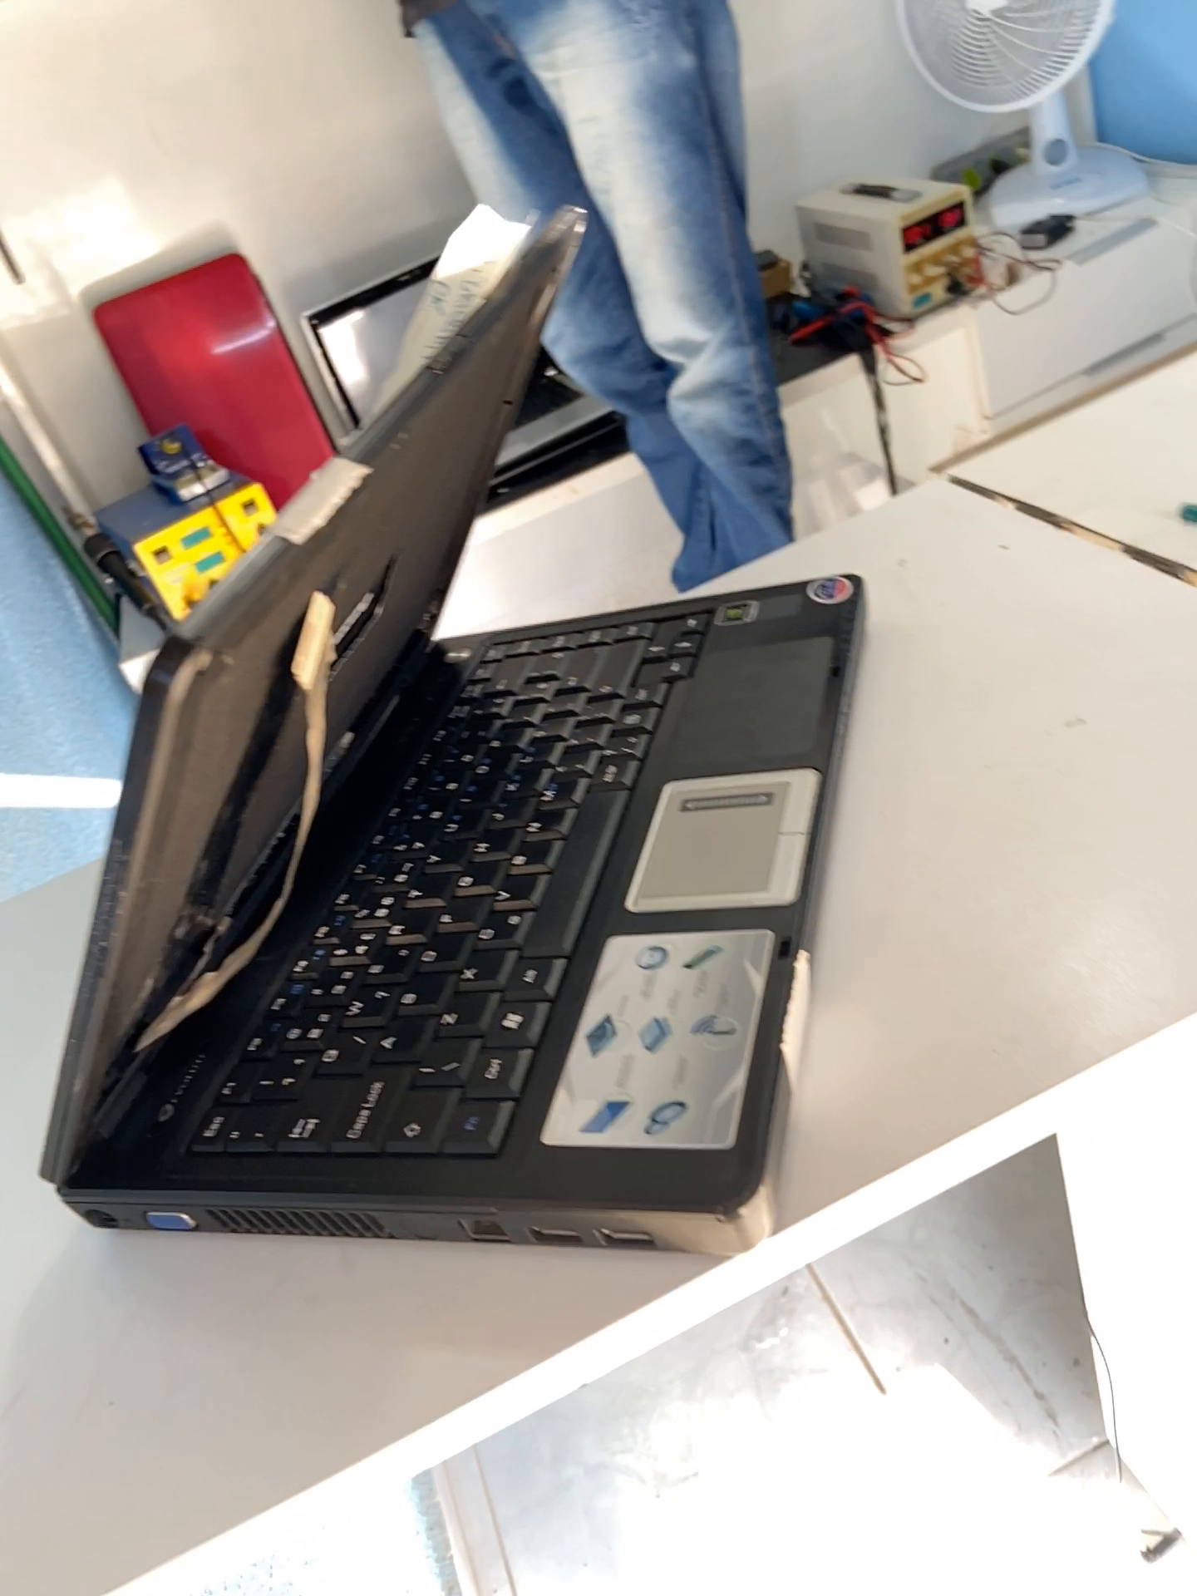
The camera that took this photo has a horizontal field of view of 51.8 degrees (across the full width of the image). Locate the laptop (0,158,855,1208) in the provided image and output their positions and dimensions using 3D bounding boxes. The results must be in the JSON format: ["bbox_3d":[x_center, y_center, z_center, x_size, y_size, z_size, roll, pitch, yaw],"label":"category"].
[{"bbox_3d":[-0.054,-0.057,0.426,0.224,0.175,0.330,-7,36,23],"label":"laptop"}]
